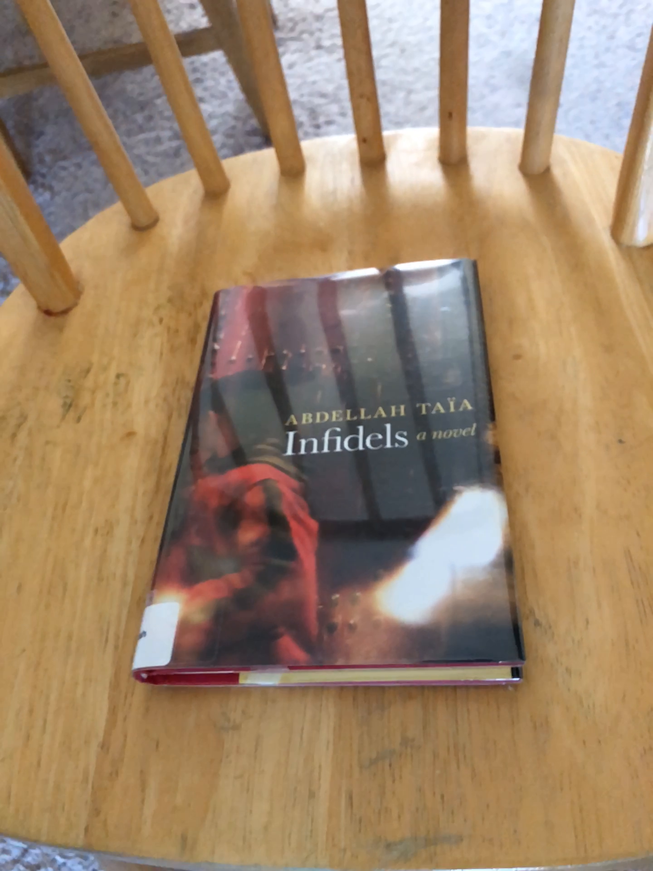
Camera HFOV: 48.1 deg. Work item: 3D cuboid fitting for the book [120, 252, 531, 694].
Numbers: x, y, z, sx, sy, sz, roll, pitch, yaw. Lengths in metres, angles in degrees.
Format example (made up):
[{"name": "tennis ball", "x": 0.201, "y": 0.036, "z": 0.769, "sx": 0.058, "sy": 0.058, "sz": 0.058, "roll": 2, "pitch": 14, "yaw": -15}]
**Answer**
[{"name": "book", "x": 0.005, "y": 0.003, "z": 0.324, "sx": 0.143, "sy": 0.020, "sz": 0.216, "roll": -5, "pitch": 50, "yaw": 11}]
